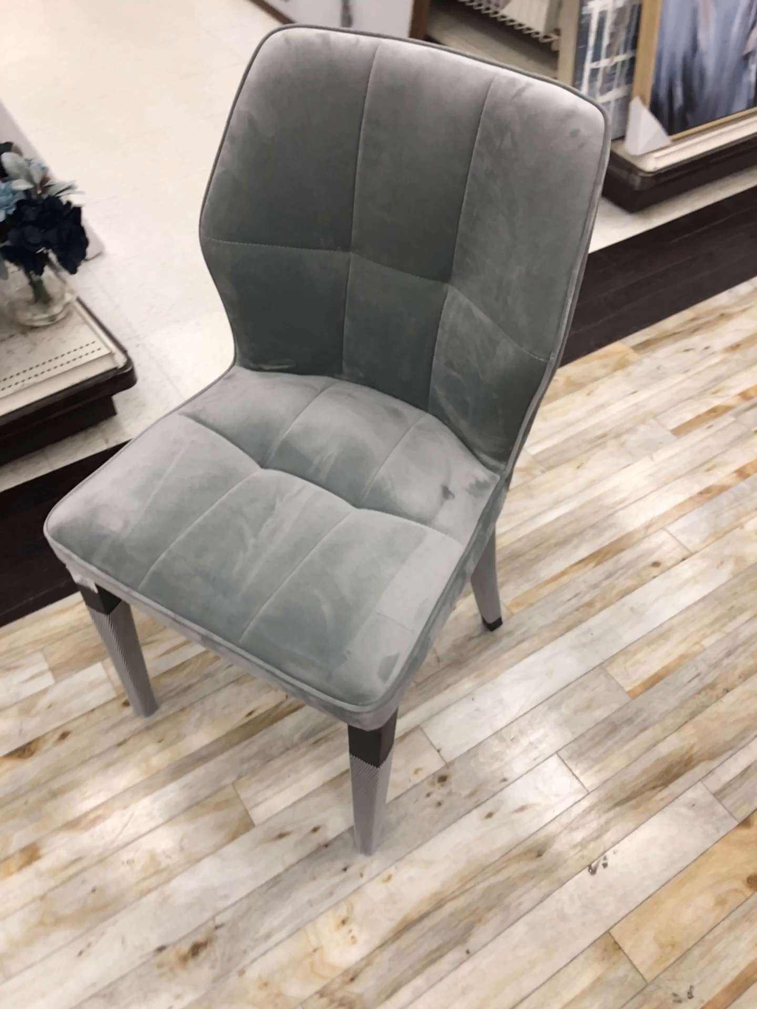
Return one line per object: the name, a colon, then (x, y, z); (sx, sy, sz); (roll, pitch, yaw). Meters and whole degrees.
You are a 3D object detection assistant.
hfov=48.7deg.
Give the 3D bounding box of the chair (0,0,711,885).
chair: (-0.051, -0.046, 1.073); (0.530, 0.837, 0.571); (25, 53, 19)
